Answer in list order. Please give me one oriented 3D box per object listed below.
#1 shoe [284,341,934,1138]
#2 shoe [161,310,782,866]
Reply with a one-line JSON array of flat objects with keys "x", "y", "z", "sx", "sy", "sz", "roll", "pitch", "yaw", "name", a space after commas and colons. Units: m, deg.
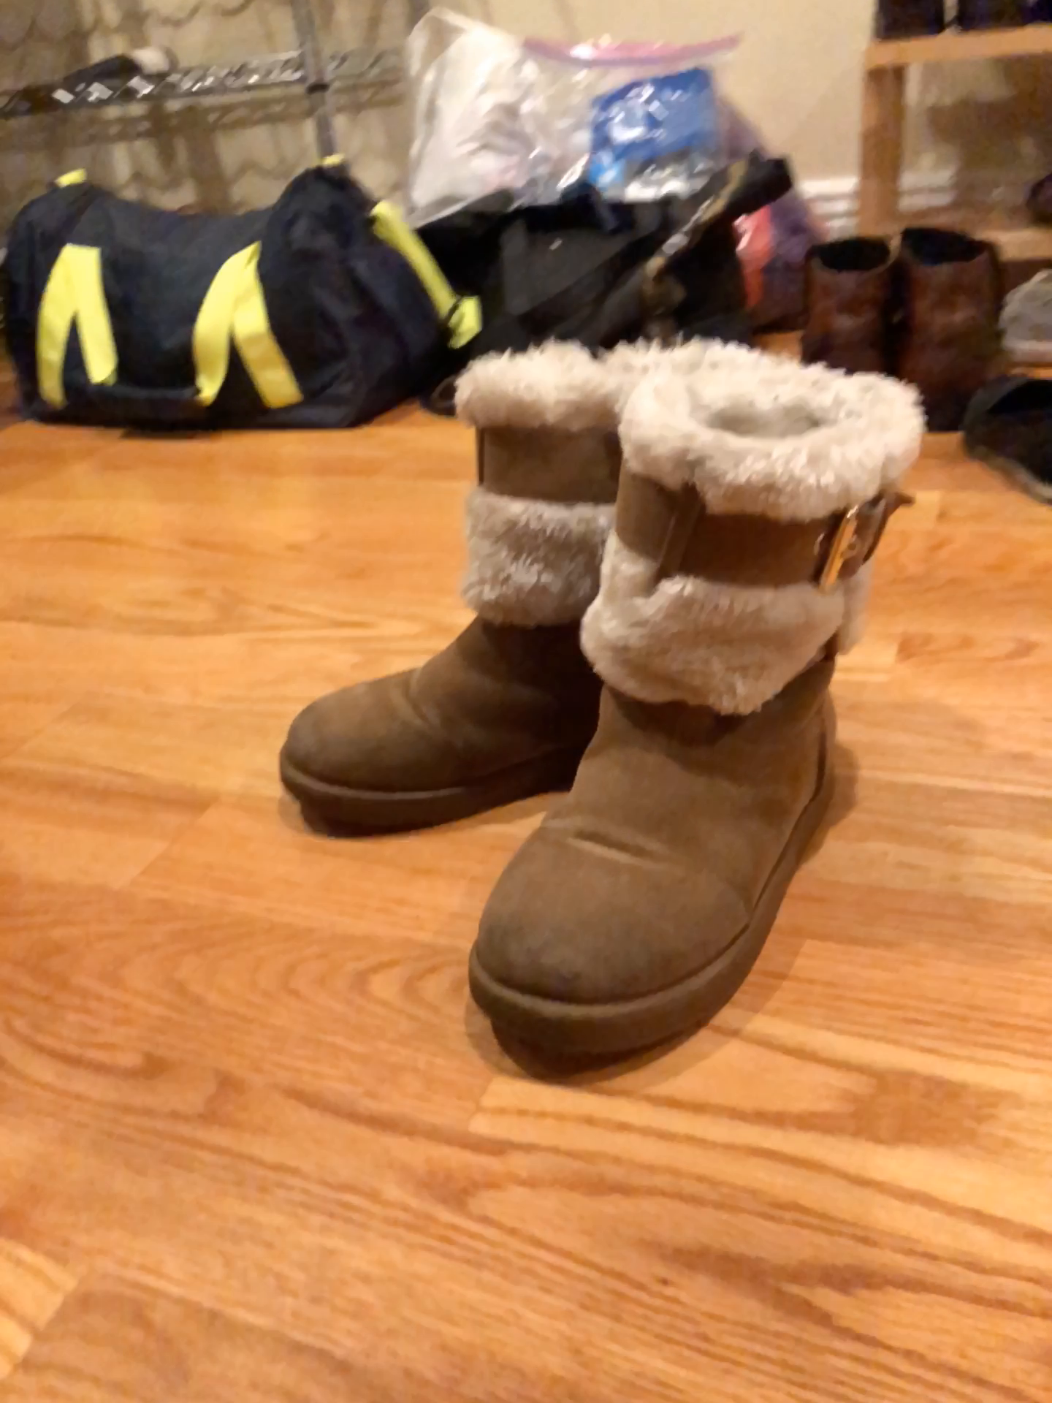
[{"x": 0.056, "y": -0.011, "z": 0.449, "sx": 0.113, "sy": 0.193, "sz": 0.255, "roll": 13, "pitch": 34, "yaw": 33, "name": "shoe"}, {"x": -0.019, "y": -0.060, "z": 0.550, "sx": 0.254, "sy": 0.193, "sz": 0.107, "roll": -12, "pitch": 28, "yaw": -10, "name": "shoe"}]
